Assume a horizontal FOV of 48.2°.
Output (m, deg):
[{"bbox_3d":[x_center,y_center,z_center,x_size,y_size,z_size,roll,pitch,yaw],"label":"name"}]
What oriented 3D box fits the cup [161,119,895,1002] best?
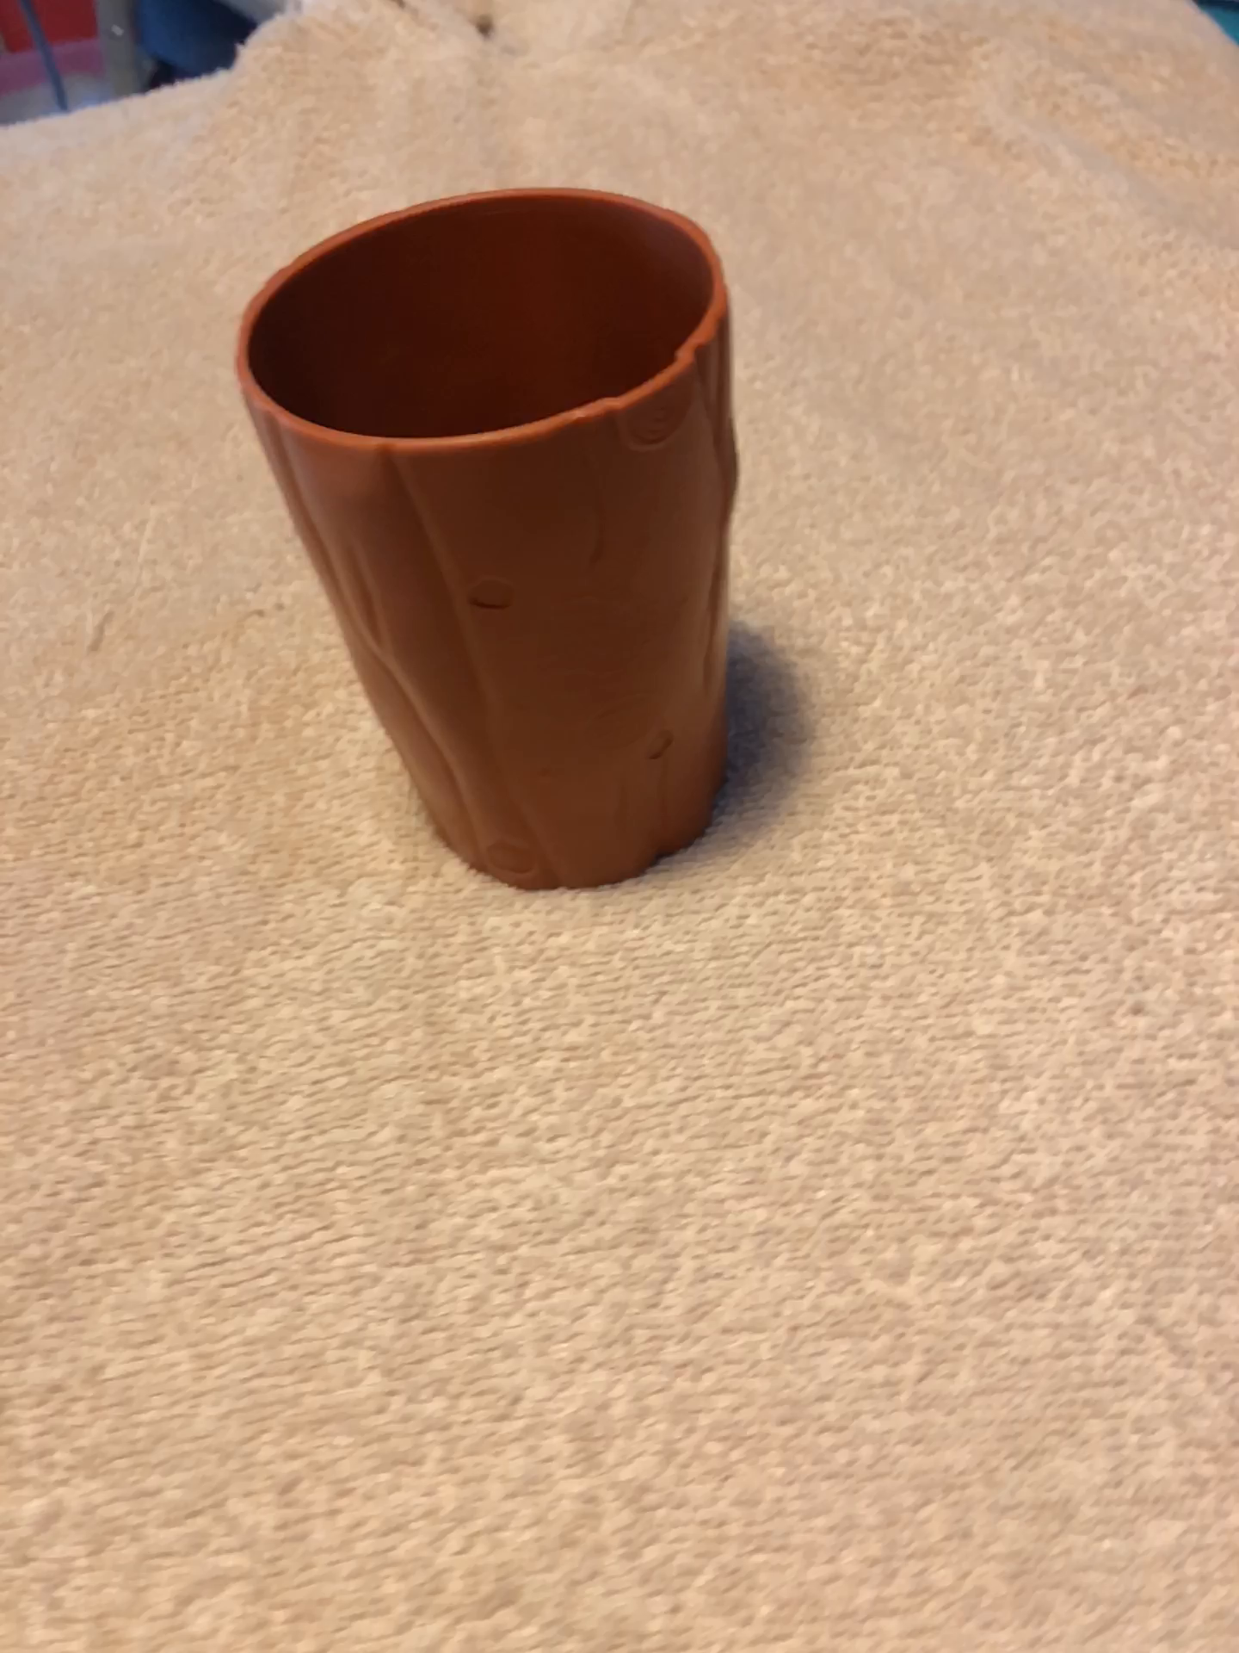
[{"bbox_3d":[-0.013,-0.049,0.258,0.080,0.109,0.090,-31,52,-18],"label":"cup"}]
